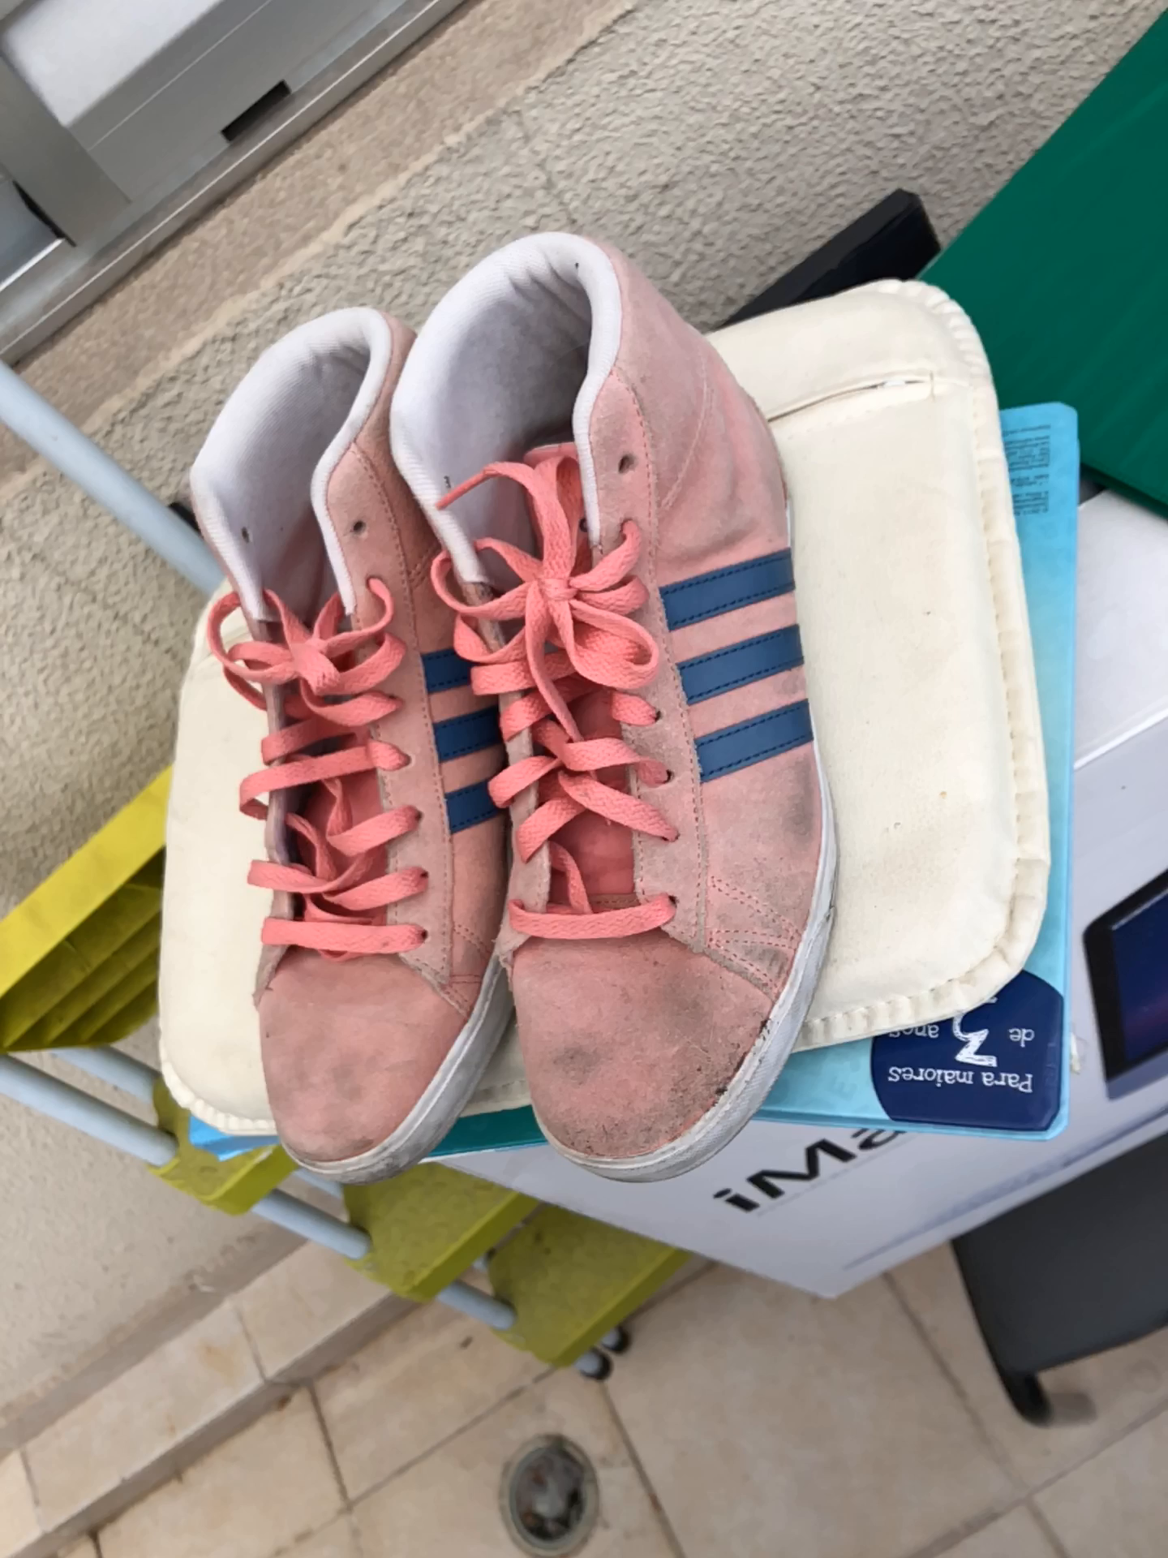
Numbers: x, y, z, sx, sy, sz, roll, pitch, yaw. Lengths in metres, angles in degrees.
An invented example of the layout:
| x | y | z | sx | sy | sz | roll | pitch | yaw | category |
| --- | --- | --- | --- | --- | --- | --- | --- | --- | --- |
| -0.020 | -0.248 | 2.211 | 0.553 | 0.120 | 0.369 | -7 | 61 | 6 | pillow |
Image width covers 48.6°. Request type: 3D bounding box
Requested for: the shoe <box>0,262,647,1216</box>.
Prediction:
| x | y | z | sx | sy | sz | roll | pitch | yaw | category |
| --- | --- | --- | --- | --- | --- | --- | --- | --- | --- |
| -0.067 | -0.009 | 0.403 | 0.100 | 0.129 | 0.251 | -1 | 65 | 25 | shoe |

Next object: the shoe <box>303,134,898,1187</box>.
| x | y | z | sx | sy | sz | roll | pitch | yaw | category |
| --- | --- | --- | --- | --- | --- | --- | --- | --- | --- |
| 0.018 | -0.026 | 0.363 | 0.100 | 0.129 | 0.251 | -8 | 62 | 22 | shoe |
